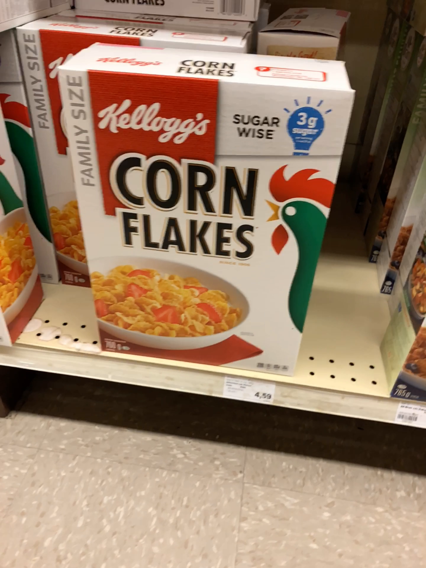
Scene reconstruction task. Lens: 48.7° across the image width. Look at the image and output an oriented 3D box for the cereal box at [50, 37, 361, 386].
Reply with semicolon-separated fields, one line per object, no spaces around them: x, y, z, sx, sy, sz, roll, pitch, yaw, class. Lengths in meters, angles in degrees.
-0.012;-0.061;0.562;0.270;0.387;0.101;6;37;3;cereal box
